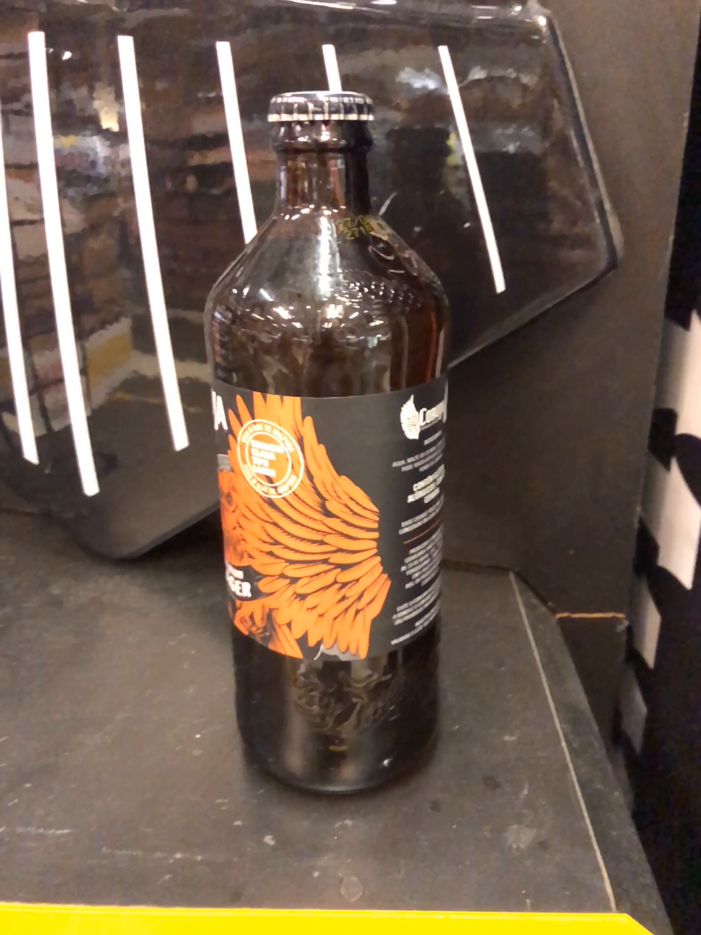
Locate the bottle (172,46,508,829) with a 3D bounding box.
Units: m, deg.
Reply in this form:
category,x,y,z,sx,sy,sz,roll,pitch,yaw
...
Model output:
category,x,y,z,sx,sy,sz,roll,pitch,yaw
bottle,-0.006,-0.006,0.251,0.070,0.219,0.070,0,21,0
